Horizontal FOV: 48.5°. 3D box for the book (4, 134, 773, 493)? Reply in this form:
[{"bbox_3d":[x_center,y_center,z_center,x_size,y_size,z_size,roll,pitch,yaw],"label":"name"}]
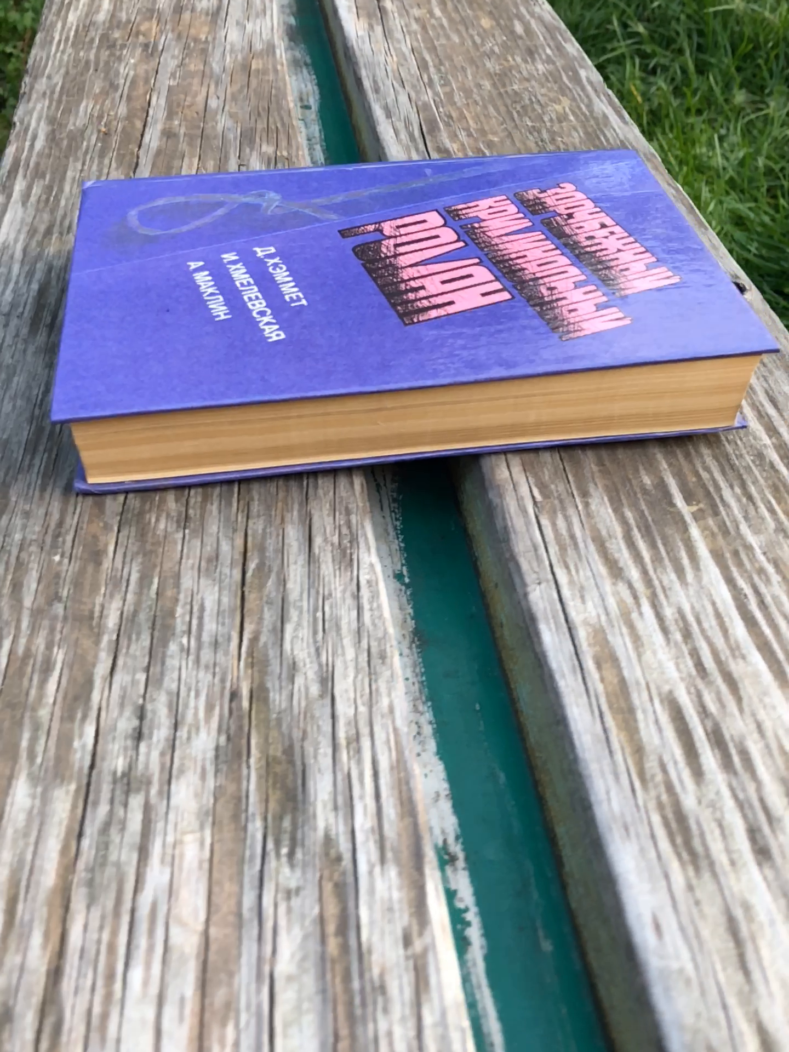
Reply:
[{"bbox_3d":[-0.007,-0.078,0.284,0.204,0.030,0.131,-6,48,-7],"label":"book"}]
